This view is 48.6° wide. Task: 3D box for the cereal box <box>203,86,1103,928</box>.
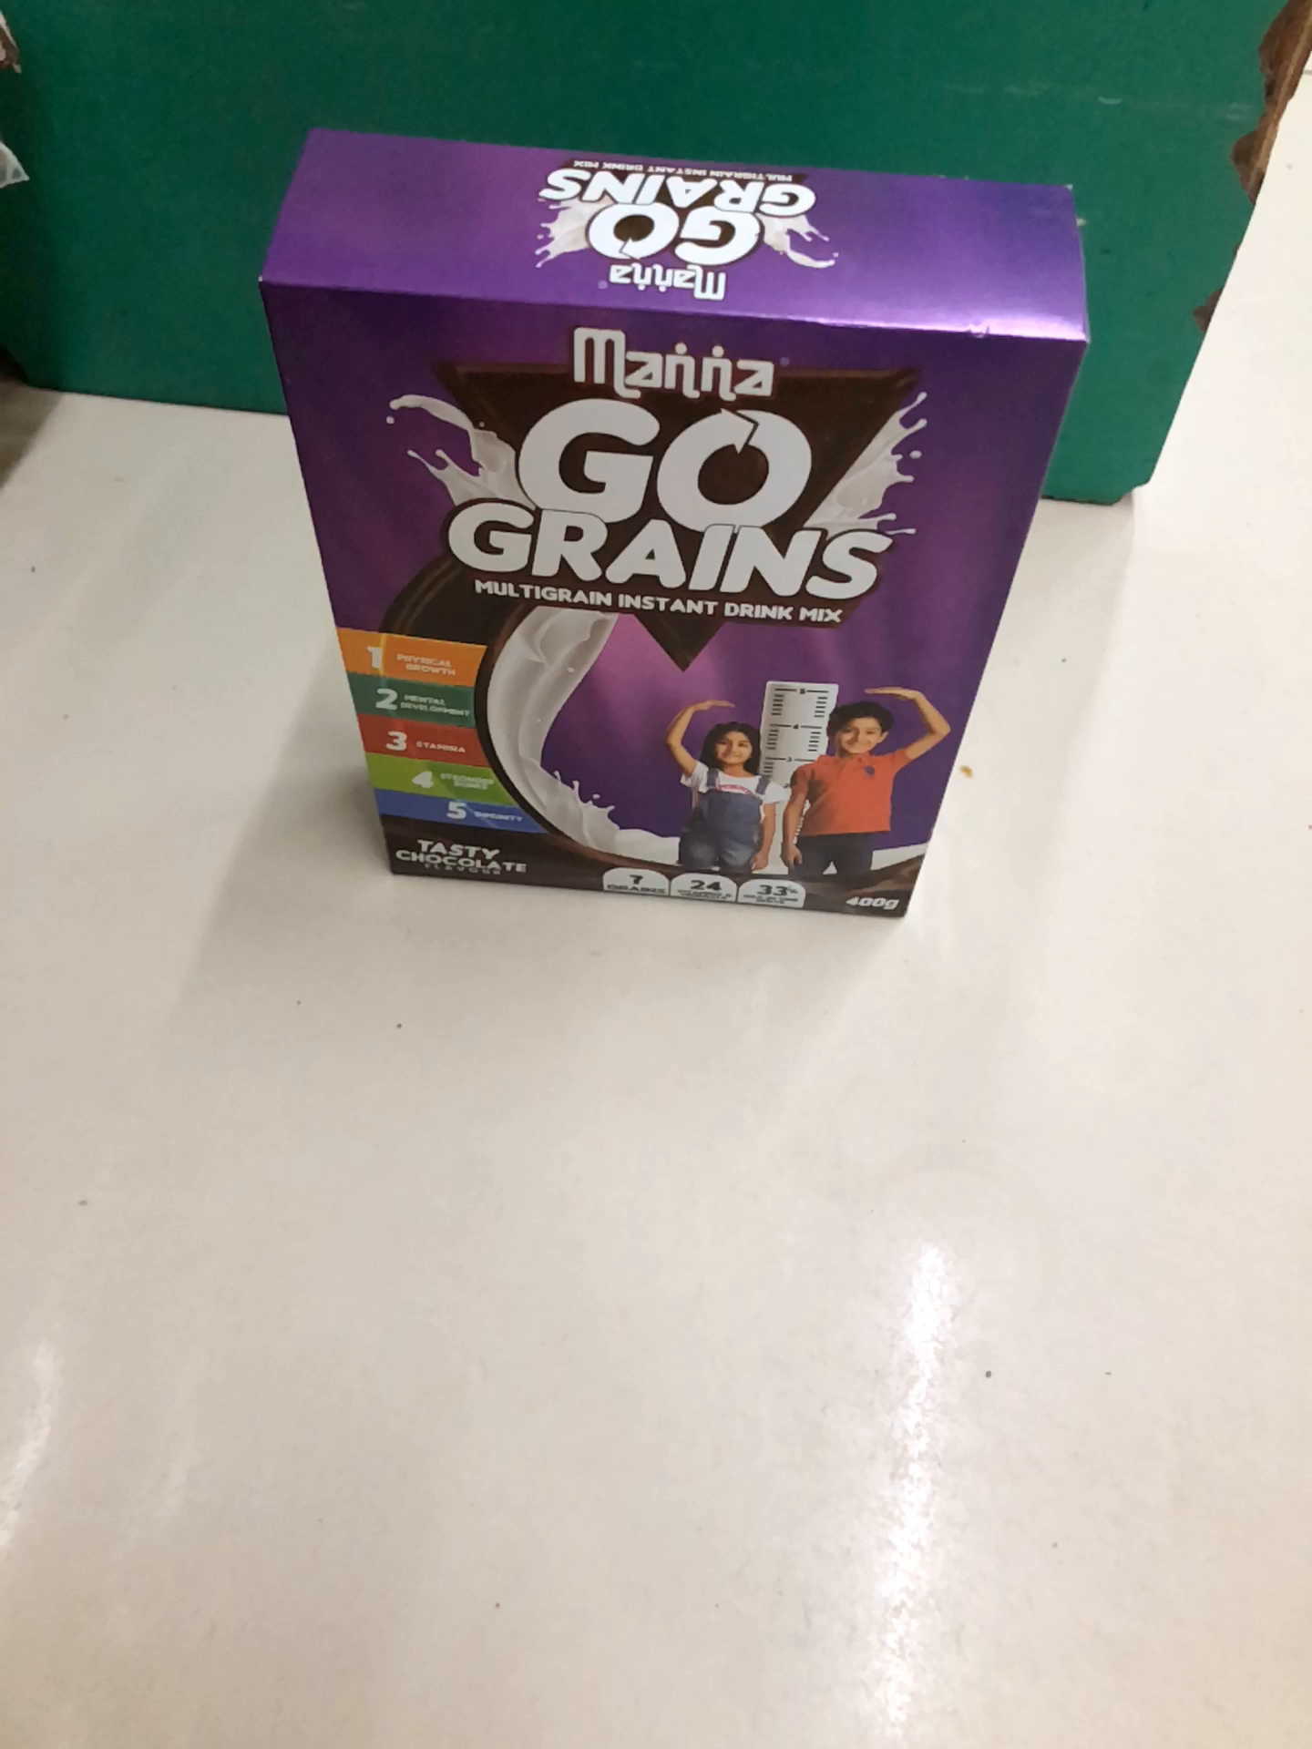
[{"bbox_3d":[-0.003,-0.066,0.333,0.150,0.189,0.050,4,54,0],"label":"cereal box"}]
